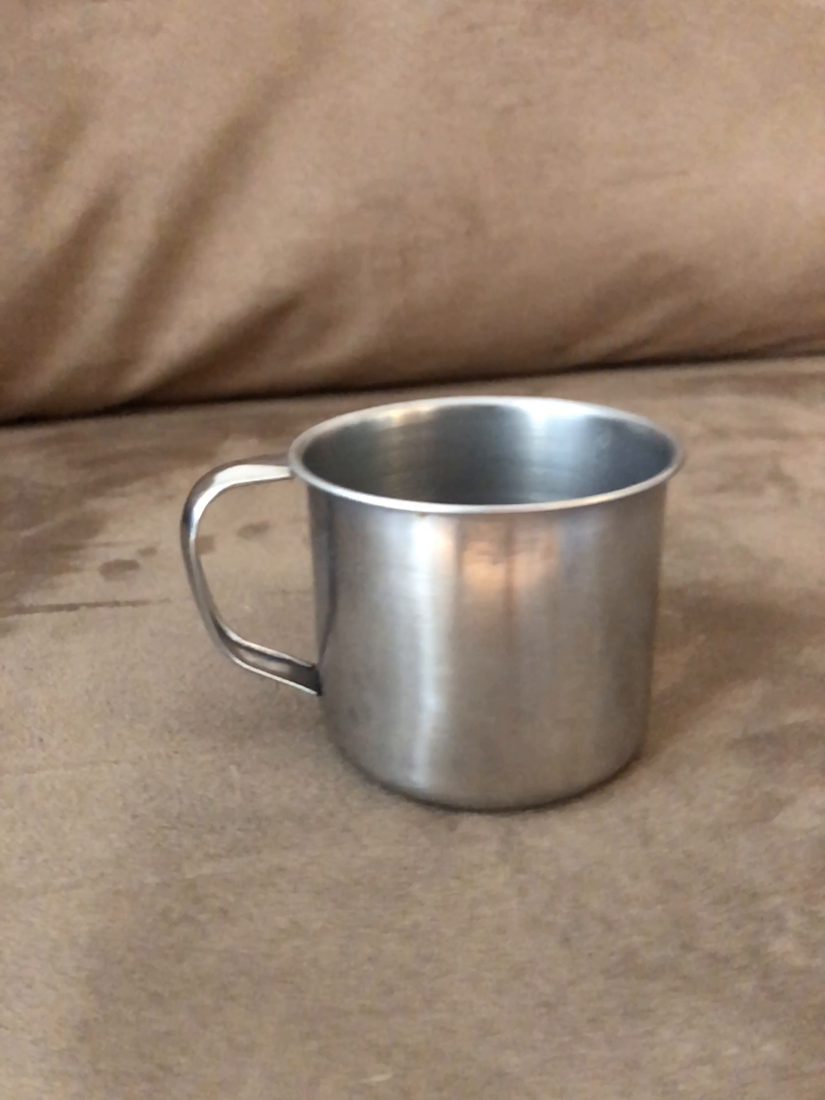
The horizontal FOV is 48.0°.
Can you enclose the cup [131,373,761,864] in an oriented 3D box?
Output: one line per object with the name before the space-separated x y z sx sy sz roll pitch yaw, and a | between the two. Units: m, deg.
cup | 0.003 0.006 0.213 0.110 0.070 0.091 -5 22 -7
